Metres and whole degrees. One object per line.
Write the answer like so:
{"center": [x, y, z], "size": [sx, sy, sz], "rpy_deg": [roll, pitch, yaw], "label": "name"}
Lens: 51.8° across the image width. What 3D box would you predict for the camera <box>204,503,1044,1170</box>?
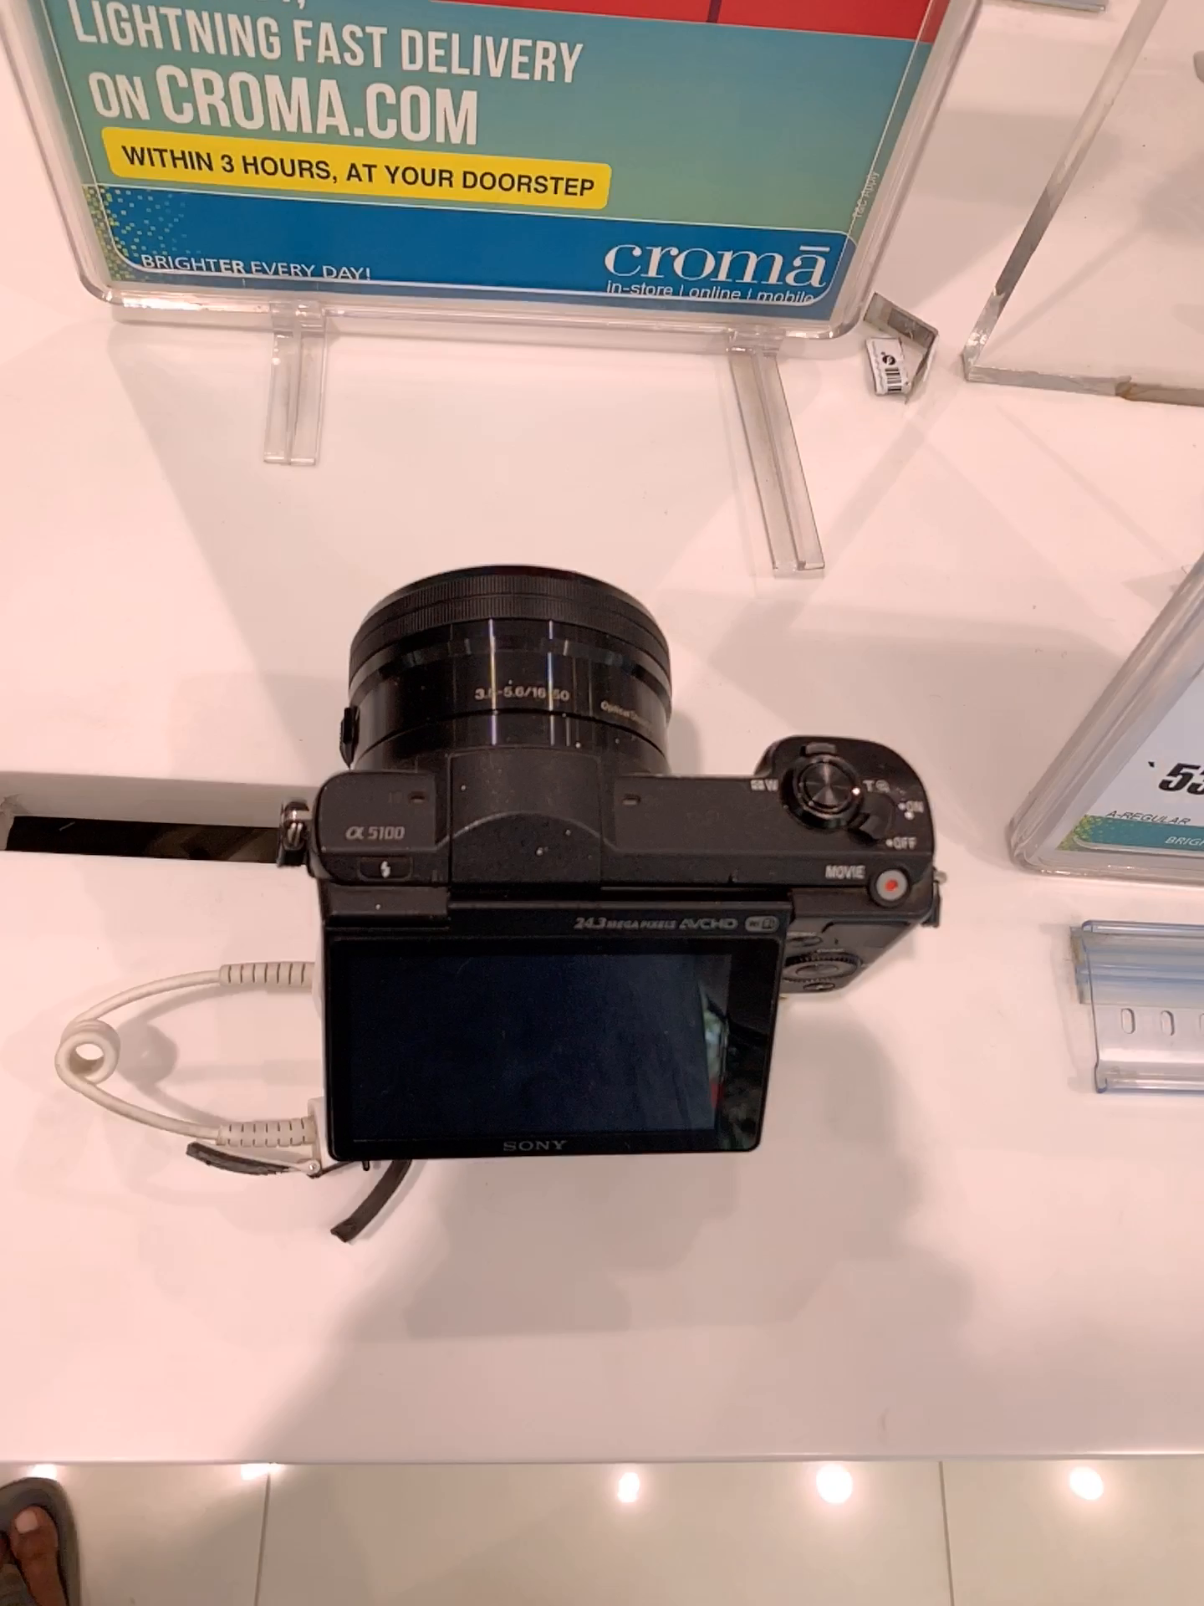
{"center": [-0.002, 0.011, 0.216], "size": [0.110, 0.082, 0.088], "rpy_deg": [0, 66, -7], "label": "camera"}
